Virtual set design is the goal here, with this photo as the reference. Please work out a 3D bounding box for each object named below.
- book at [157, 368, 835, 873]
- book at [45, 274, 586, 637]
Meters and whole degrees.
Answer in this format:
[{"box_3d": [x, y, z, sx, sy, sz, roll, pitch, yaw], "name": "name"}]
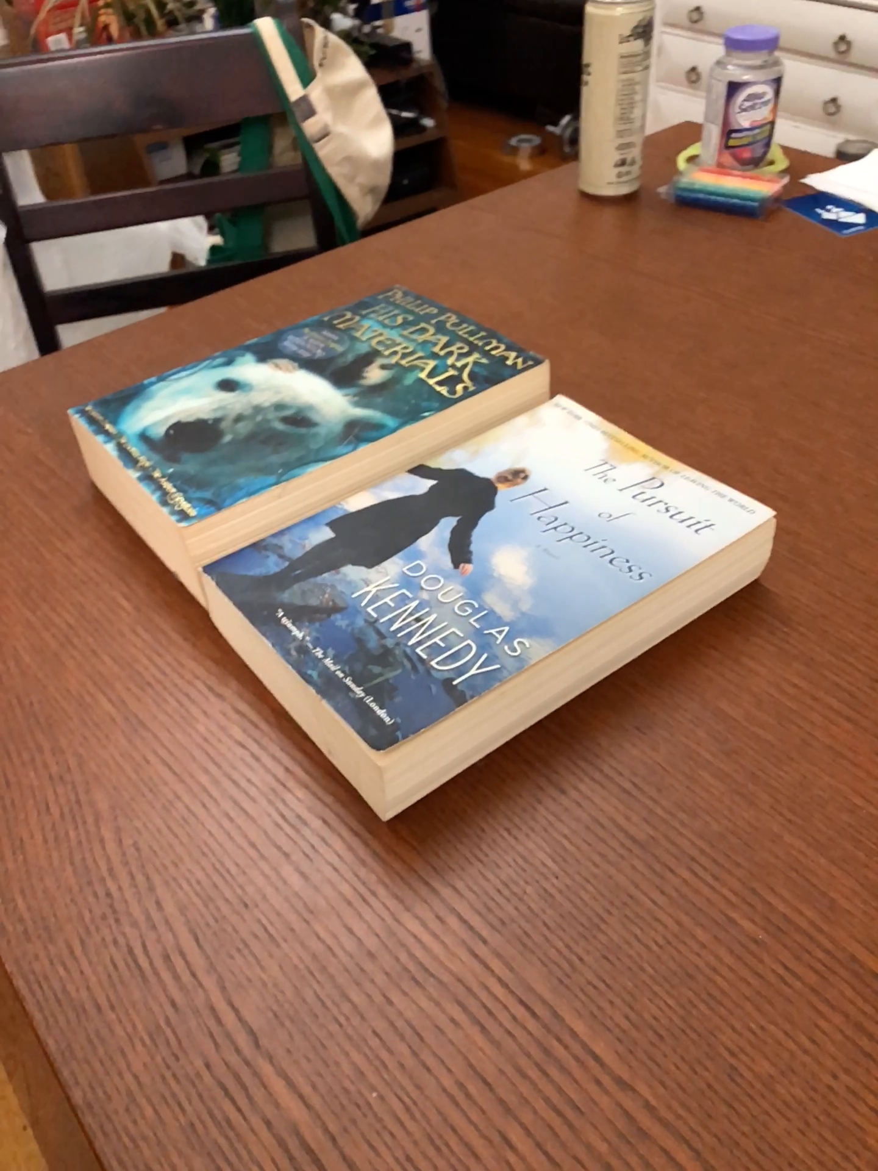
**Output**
[{"box_3d": [0.026, -0.009, 0.453, 0.251, 0.040, 0.181, -28, 46, -25], "name": "book"}, {"box_3d": [-0.069, -0.093, 0.566, 0.251, 0.050, 0.181, -28, 46, -25], "name": "book"}]
